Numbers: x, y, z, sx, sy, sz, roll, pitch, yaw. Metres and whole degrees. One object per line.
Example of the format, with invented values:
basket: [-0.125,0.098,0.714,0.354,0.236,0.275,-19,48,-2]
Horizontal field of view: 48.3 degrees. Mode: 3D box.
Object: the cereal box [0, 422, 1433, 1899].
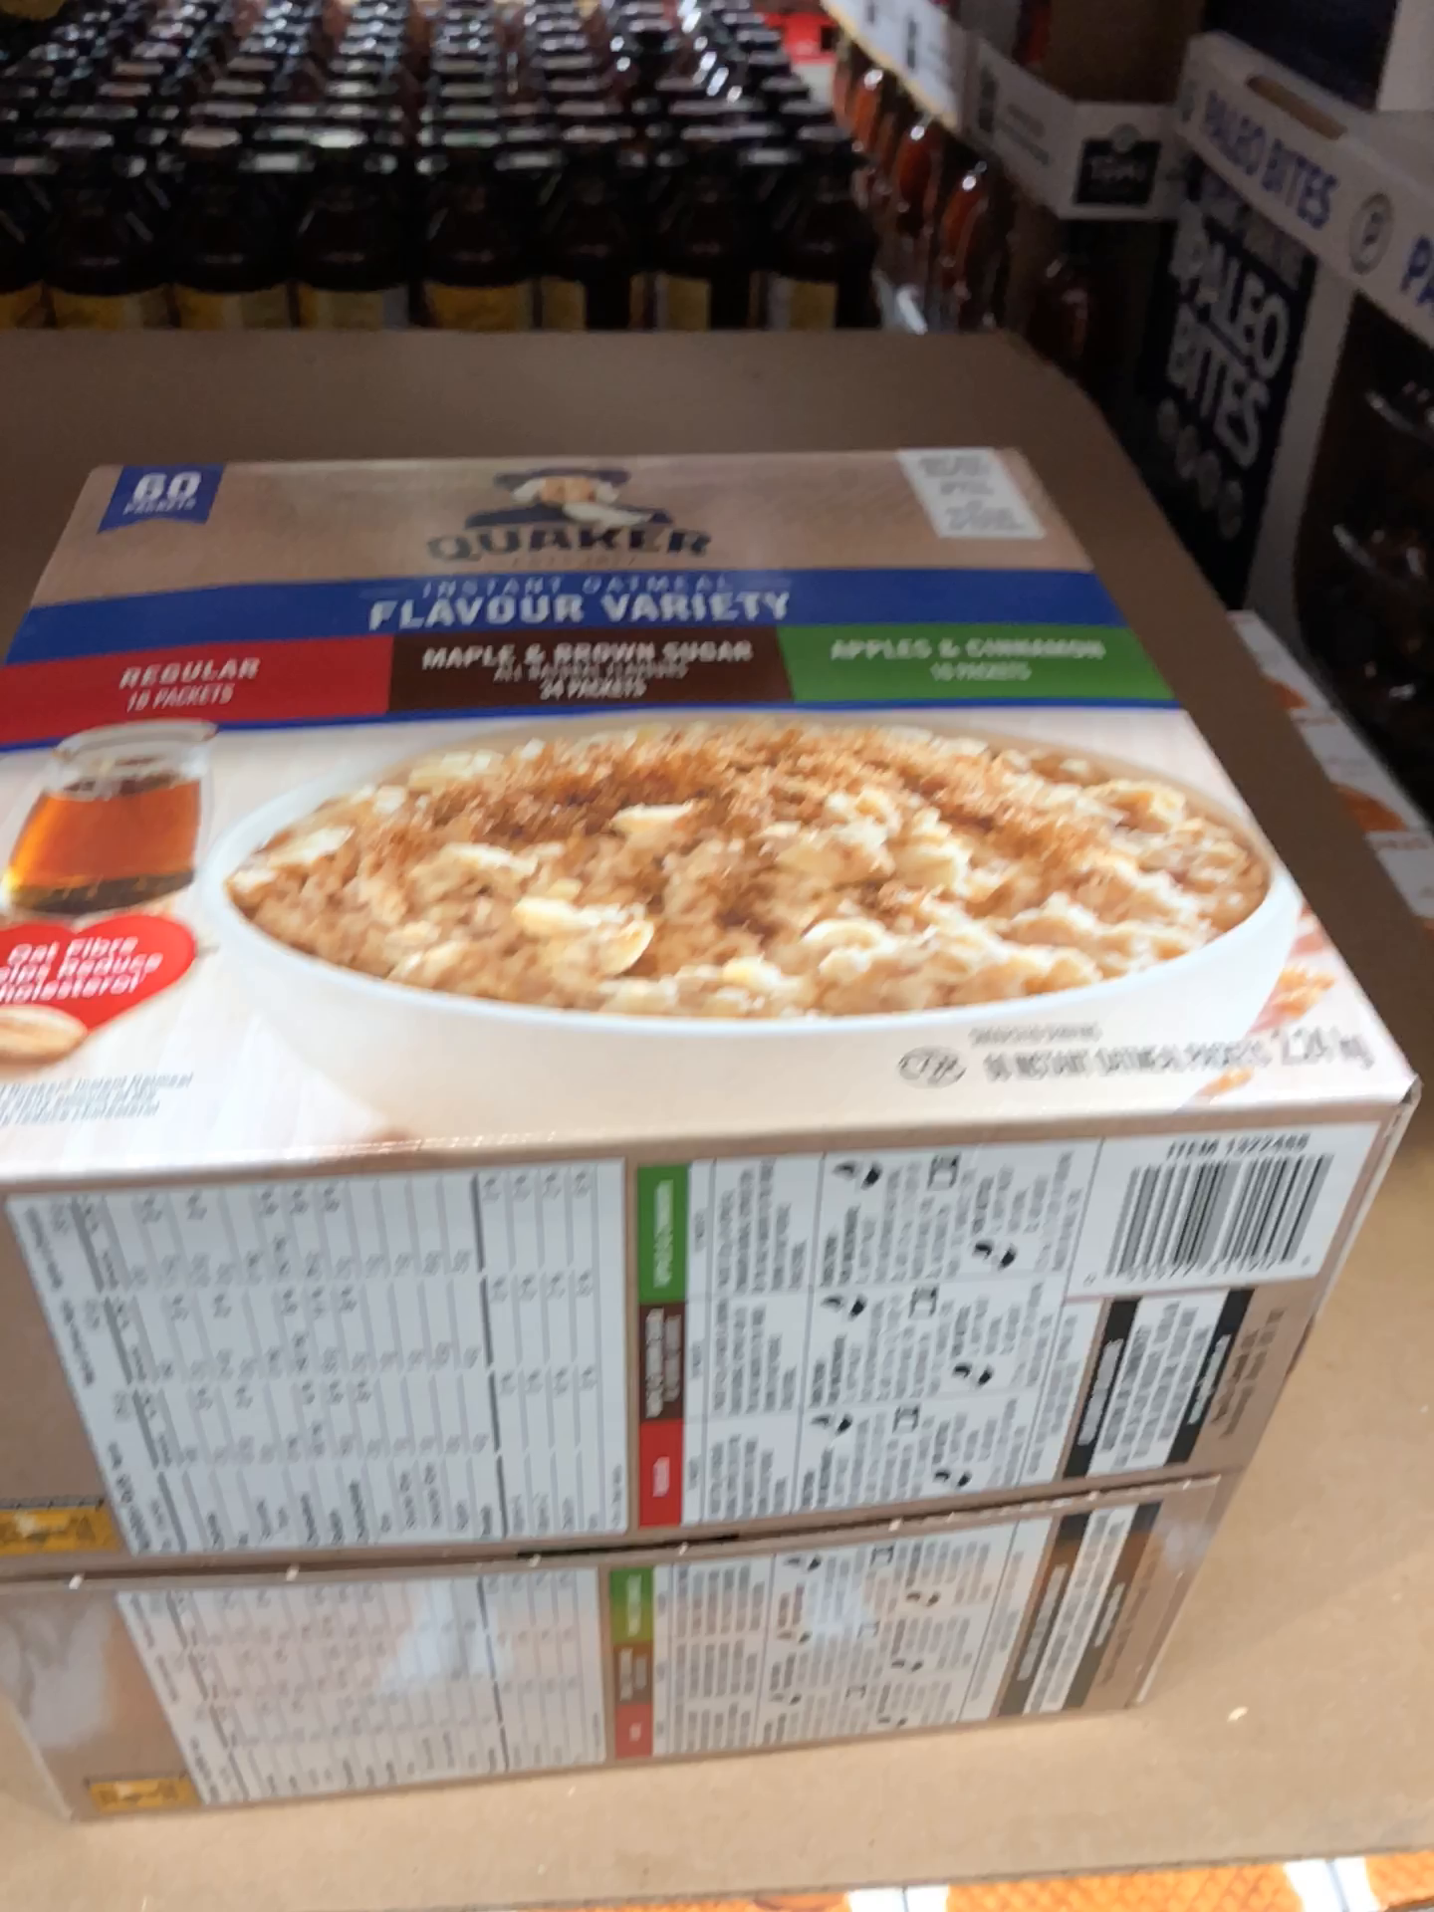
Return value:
cereal box: [-0.033,0.023,0.372,0.240,0.199,0.261,-3,39,-7]
